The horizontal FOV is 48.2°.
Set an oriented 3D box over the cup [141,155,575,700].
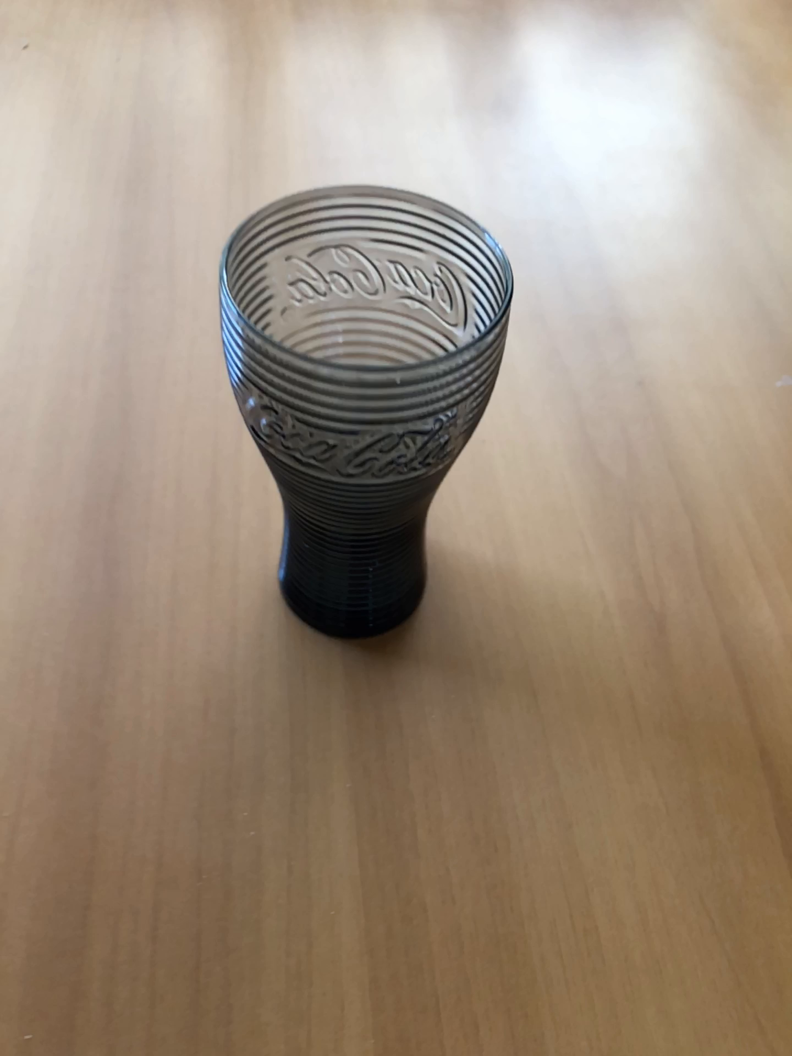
[{"bbox_3d":[-0.012,-0.026,0.278,0.080,0.129,0.080,2,53,-3],"label":"cup"}]
